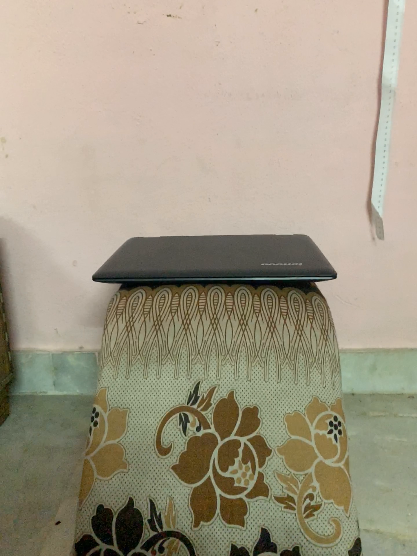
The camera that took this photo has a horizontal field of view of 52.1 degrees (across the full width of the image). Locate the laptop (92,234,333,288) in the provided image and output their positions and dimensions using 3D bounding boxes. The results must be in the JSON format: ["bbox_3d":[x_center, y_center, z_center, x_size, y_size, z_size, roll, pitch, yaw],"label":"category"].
[{"bbox_3d":[0.010,-0.032,0.656,0.312,0.012,0.214,-1,20,3],"label":"laptop"}]
